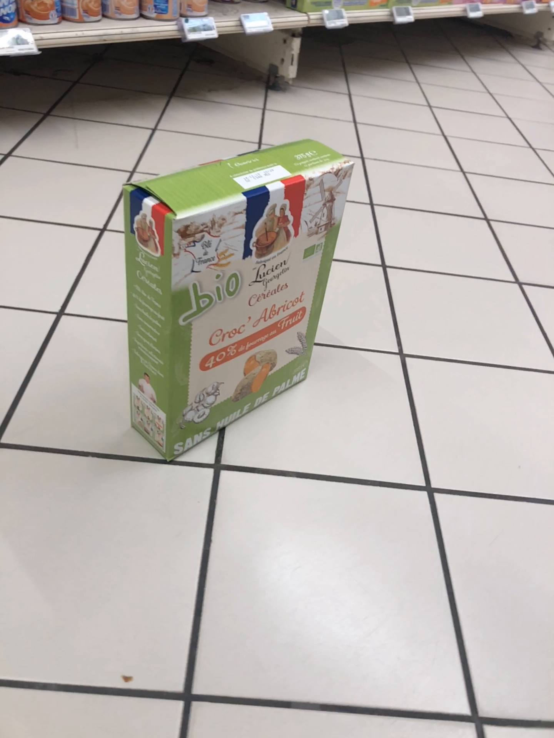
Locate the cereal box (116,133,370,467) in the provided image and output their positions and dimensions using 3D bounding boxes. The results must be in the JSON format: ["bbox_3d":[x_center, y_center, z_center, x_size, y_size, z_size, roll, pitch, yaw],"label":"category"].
[{"bbox_3d":[-0.033,-0.062,0.539,0.070,0.238,0.201,36,46,28],"label":"cereal box"}]
